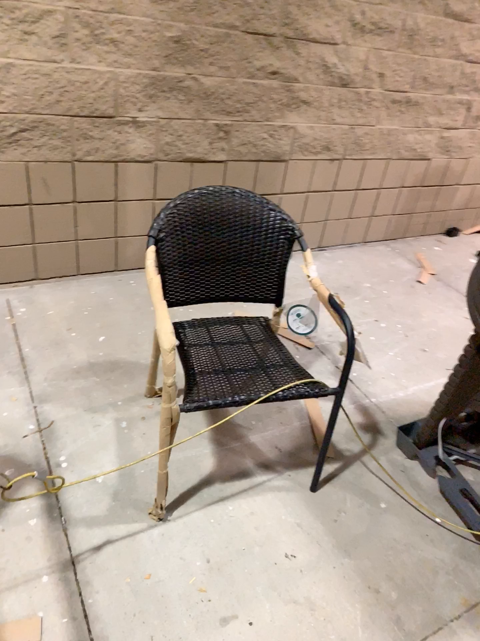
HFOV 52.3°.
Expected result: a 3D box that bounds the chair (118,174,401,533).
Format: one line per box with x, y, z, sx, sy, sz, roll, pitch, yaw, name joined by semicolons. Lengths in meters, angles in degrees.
-0.044;0.073;1.505;0.576;0.839;0.600;-4;35;-20;chair
